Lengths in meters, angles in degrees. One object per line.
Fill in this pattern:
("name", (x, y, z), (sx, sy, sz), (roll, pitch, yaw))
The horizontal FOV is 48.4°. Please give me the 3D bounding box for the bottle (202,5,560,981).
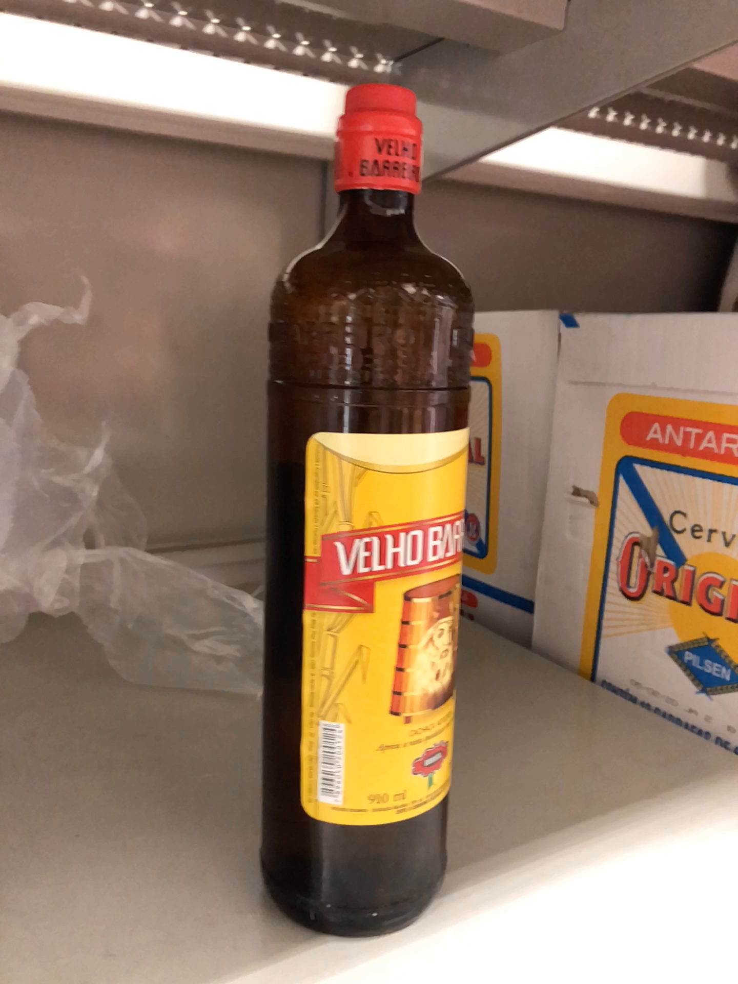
("bottle", (0.000, 0.005, 0.305), (0.080, 0.299, 0.090), (12, 16, 41))
